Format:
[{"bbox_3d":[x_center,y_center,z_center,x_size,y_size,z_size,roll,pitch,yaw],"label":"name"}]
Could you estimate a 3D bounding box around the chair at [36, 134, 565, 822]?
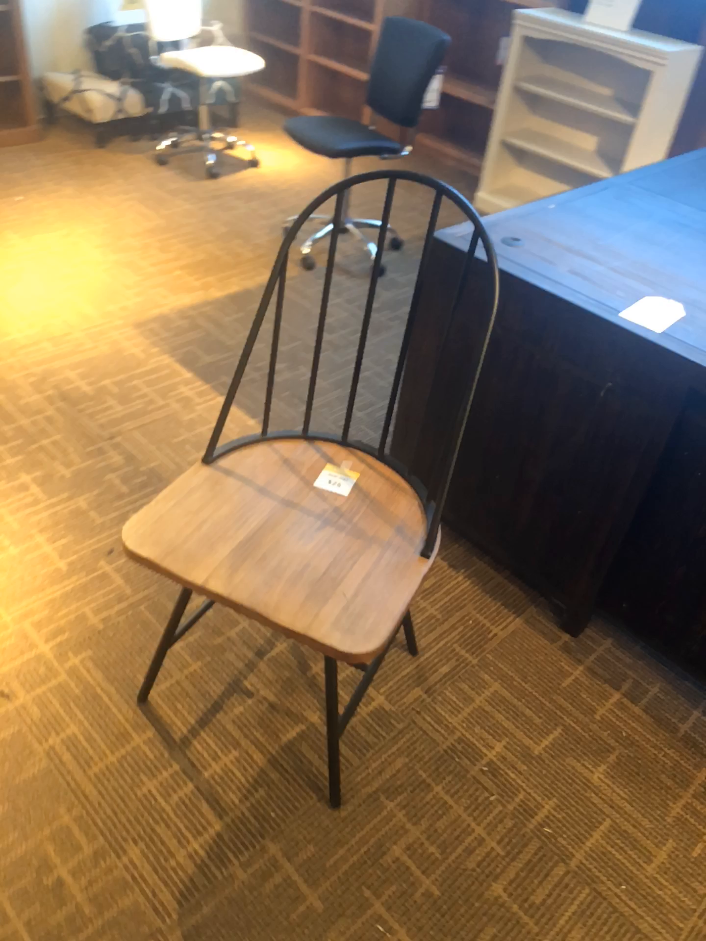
[{"bbox_3d":[-0.074,0.013,1.376,0.513,0.930,0.602,22,40,16],"label":"chair"}]
